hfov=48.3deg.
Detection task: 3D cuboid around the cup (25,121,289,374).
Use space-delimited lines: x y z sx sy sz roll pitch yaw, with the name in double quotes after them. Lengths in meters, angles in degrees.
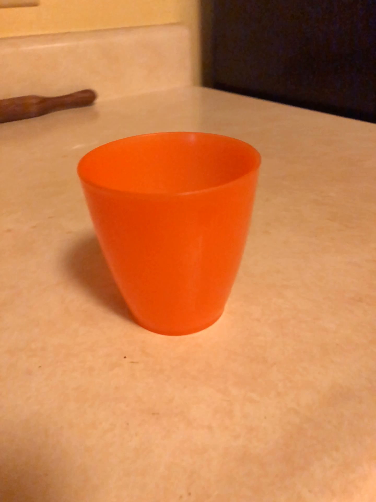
-0.014 -0.011 0.195 0.080 0.070 0.080 -2 30 1 "cup"
